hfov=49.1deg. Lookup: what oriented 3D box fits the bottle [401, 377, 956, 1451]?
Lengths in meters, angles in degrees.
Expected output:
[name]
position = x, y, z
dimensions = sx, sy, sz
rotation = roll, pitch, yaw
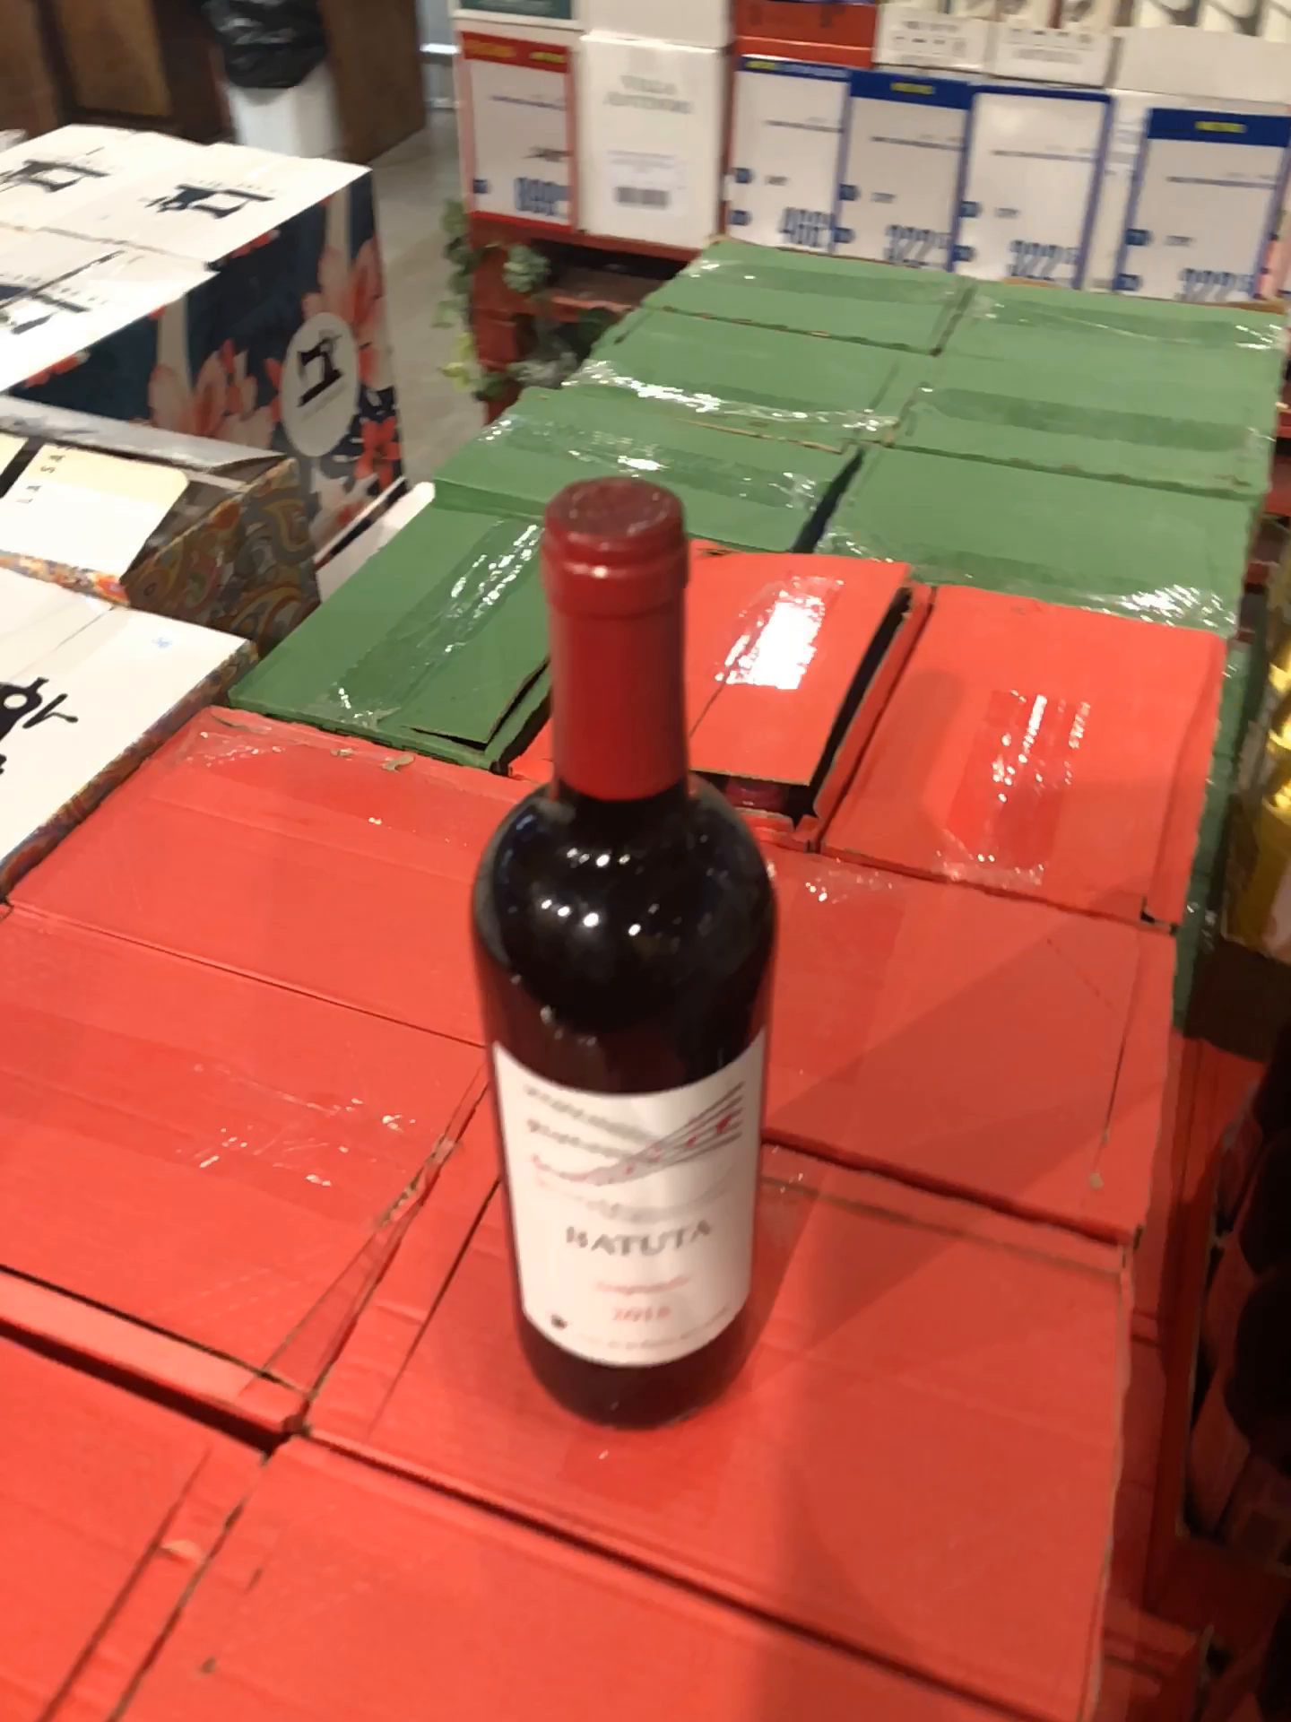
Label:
[bottle]
position = 0.002, 0.036, 0.360
dimensions = 0.090, 0.287, 0.081
rotation = -7, 42, -8
